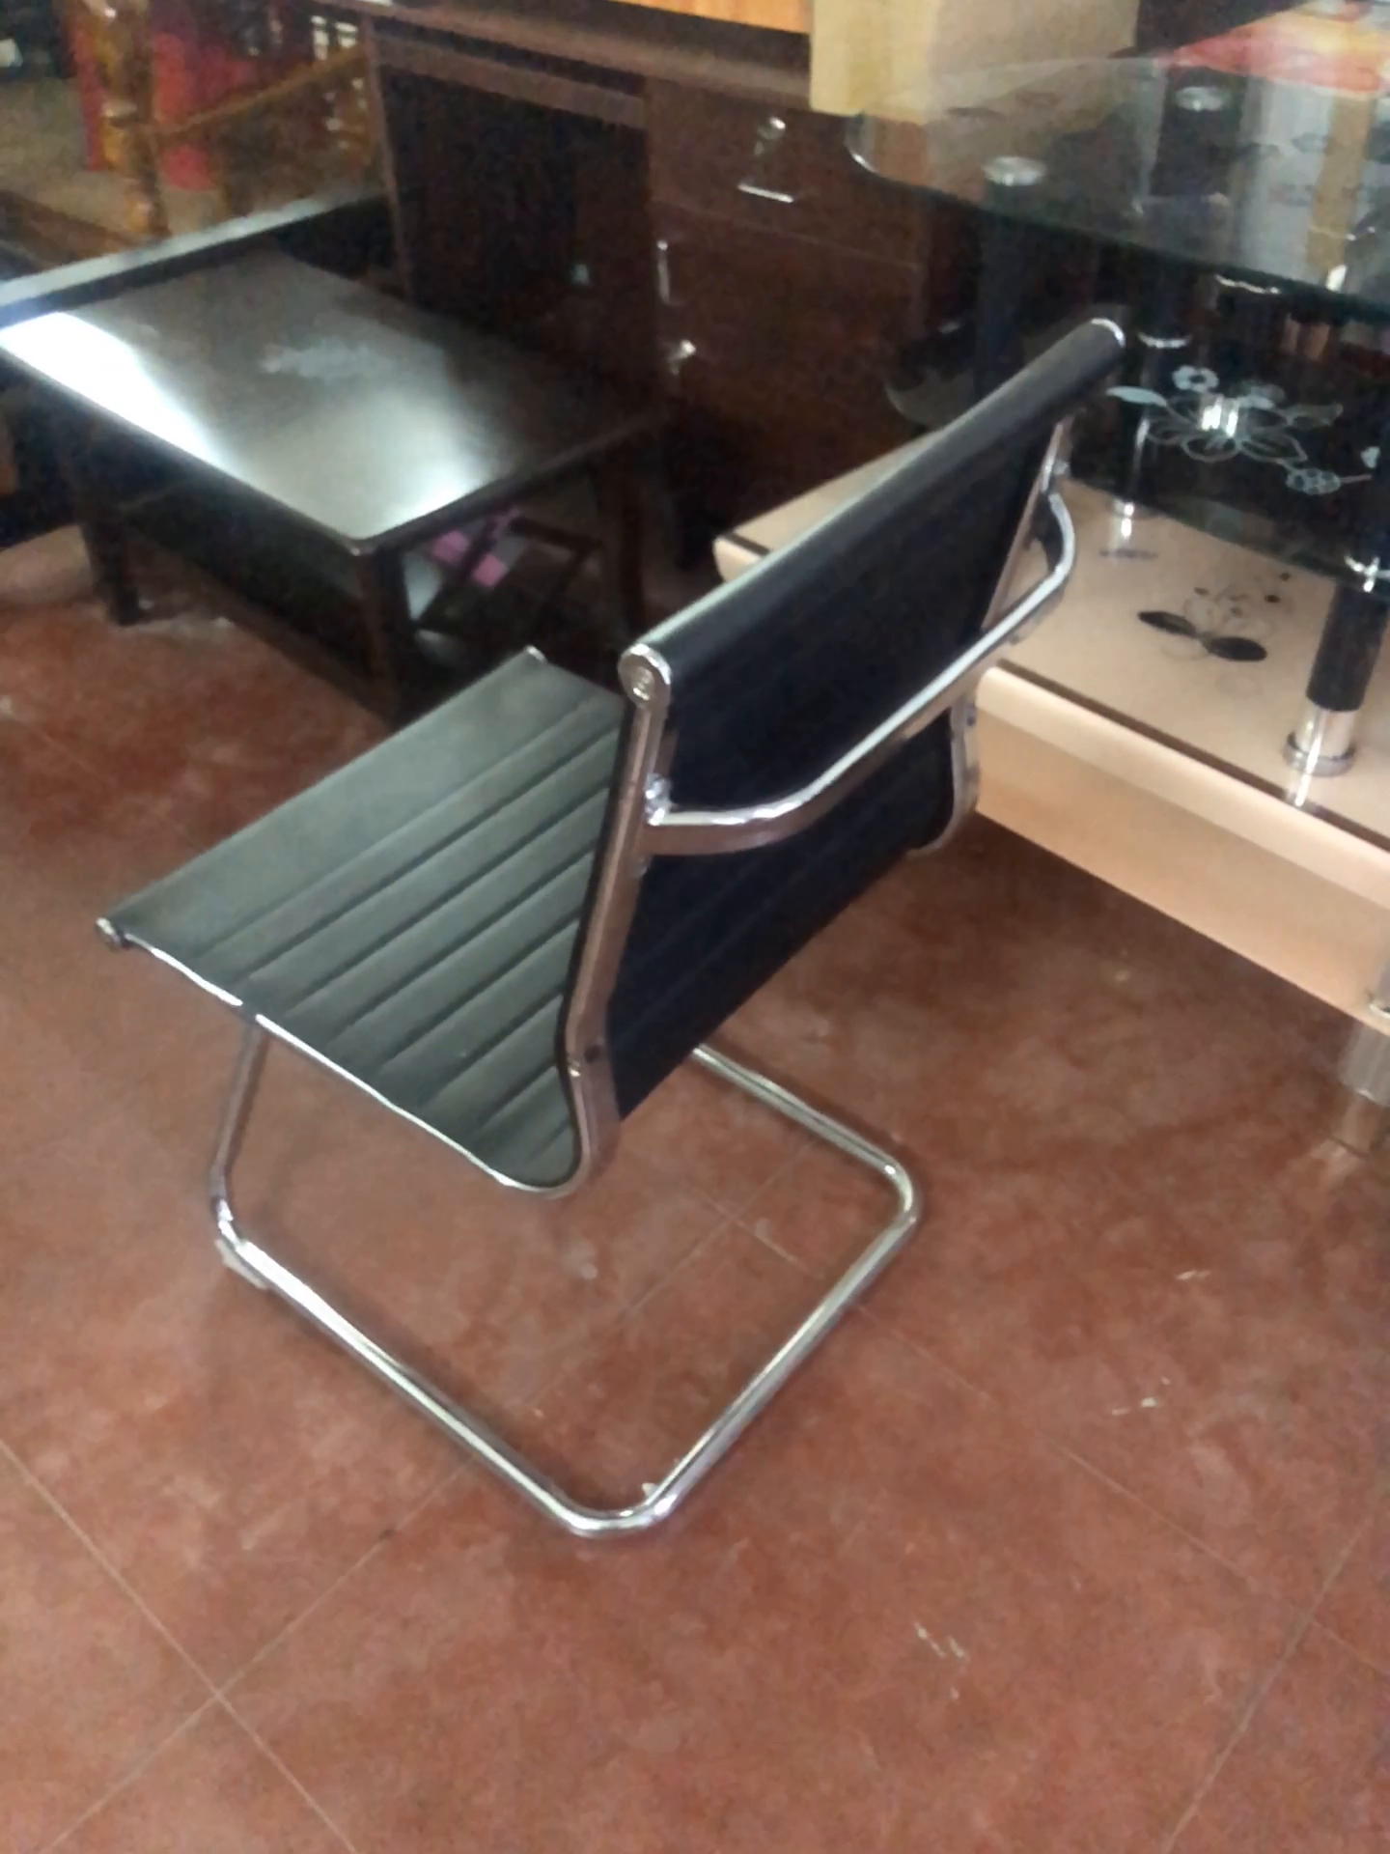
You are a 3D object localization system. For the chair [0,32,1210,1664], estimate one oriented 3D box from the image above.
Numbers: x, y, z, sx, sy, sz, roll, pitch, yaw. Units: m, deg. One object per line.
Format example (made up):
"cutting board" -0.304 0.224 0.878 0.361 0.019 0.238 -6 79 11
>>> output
"chair" -0.148 -0.088 1.153 0.680 0.856 0.593 28 49 29
